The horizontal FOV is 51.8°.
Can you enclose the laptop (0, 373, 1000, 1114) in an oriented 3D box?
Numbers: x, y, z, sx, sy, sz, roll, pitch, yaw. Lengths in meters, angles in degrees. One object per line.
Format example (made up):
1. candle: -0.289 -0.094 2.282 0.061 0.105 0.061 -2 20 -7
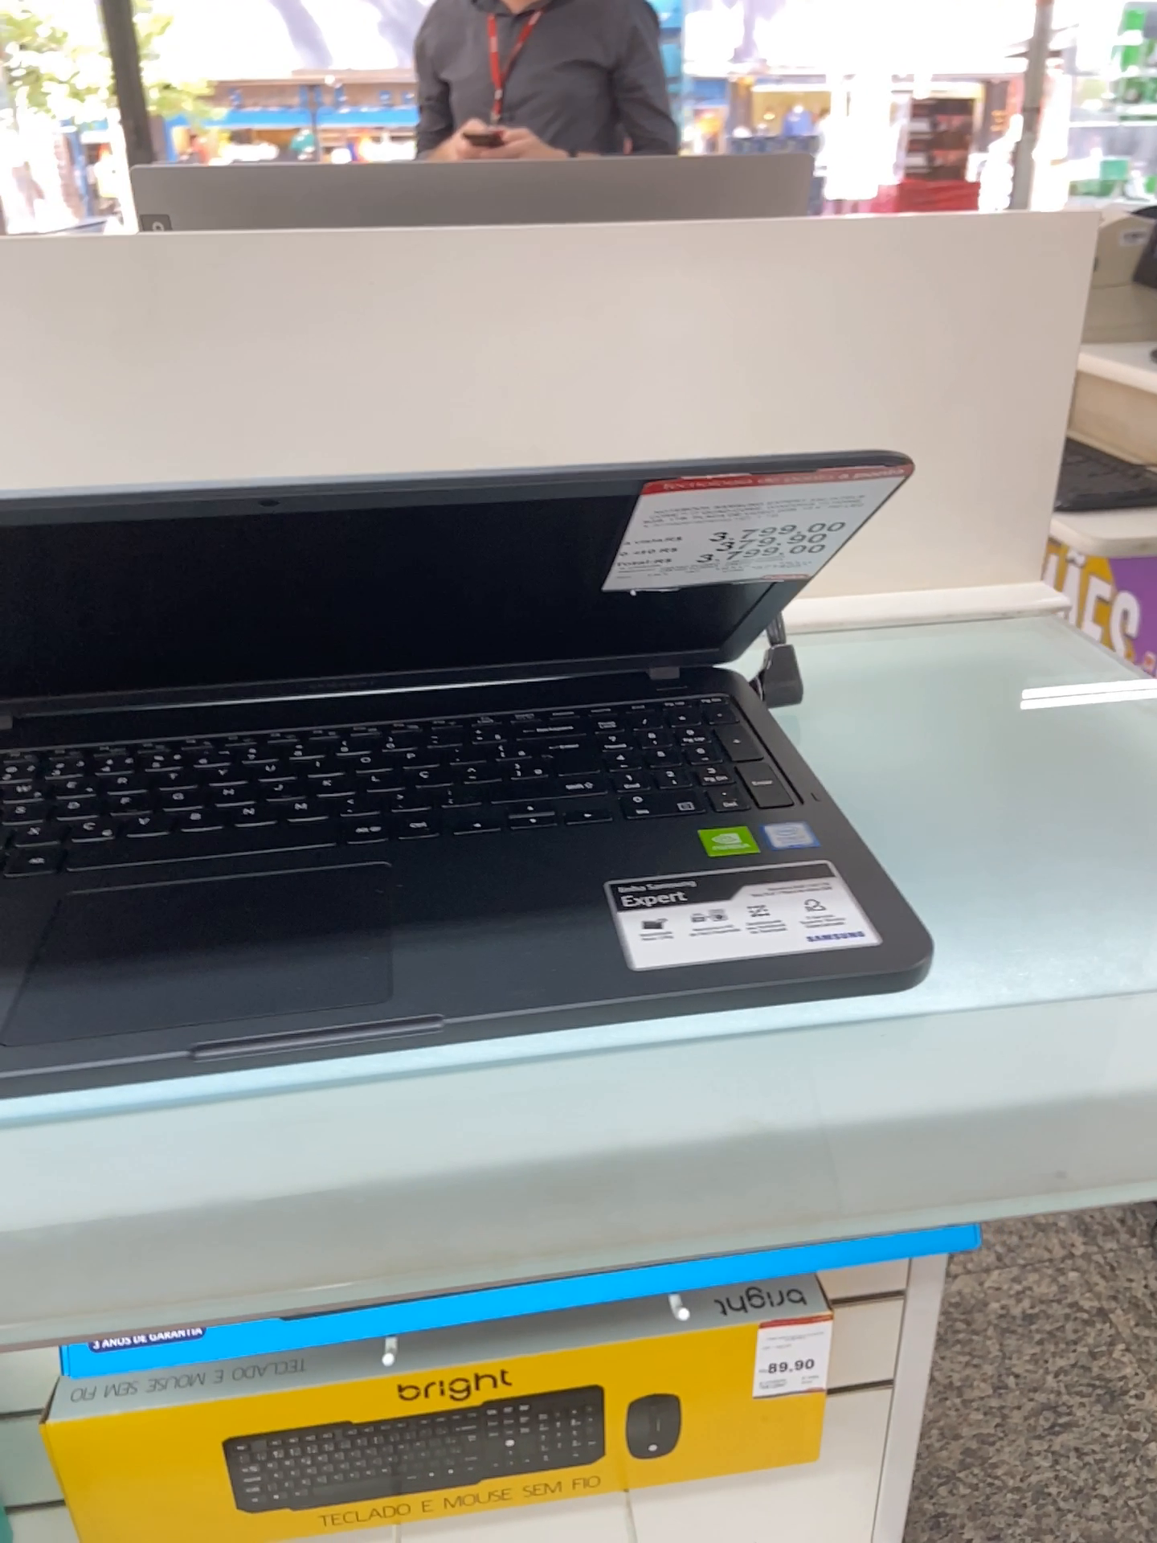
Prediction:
1. laptop: -0.094 -0.041 0.420 0.376 0.139 0.240 -5 28 -8
